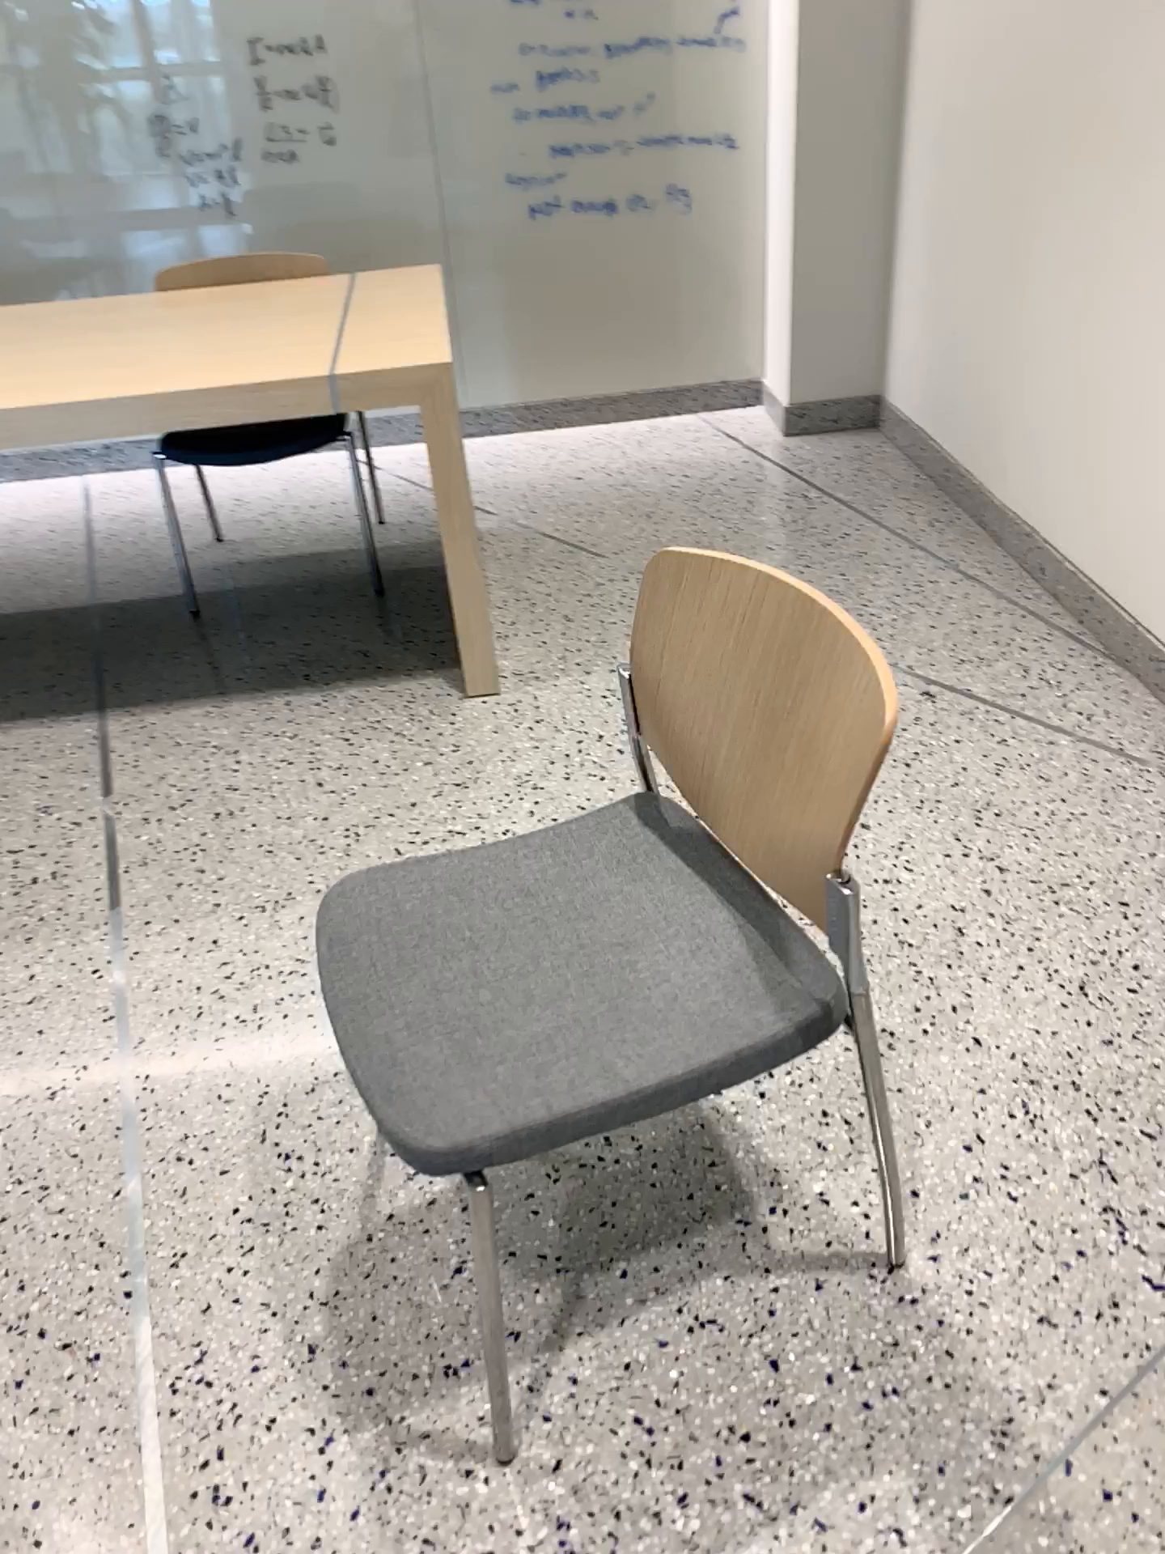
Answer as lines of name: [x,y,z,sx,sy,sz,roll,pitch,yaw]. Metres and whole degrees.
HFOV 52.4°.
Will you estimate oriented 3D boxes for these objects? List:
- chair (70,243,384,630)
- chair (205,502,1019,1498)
chair: [-0.833,-0.870,2.985,0.537,0.748,0.596,-7,33,-4]
chair: [0.008,0.209,1.302,0.592,0.768,0.541,-15,34,-16]
